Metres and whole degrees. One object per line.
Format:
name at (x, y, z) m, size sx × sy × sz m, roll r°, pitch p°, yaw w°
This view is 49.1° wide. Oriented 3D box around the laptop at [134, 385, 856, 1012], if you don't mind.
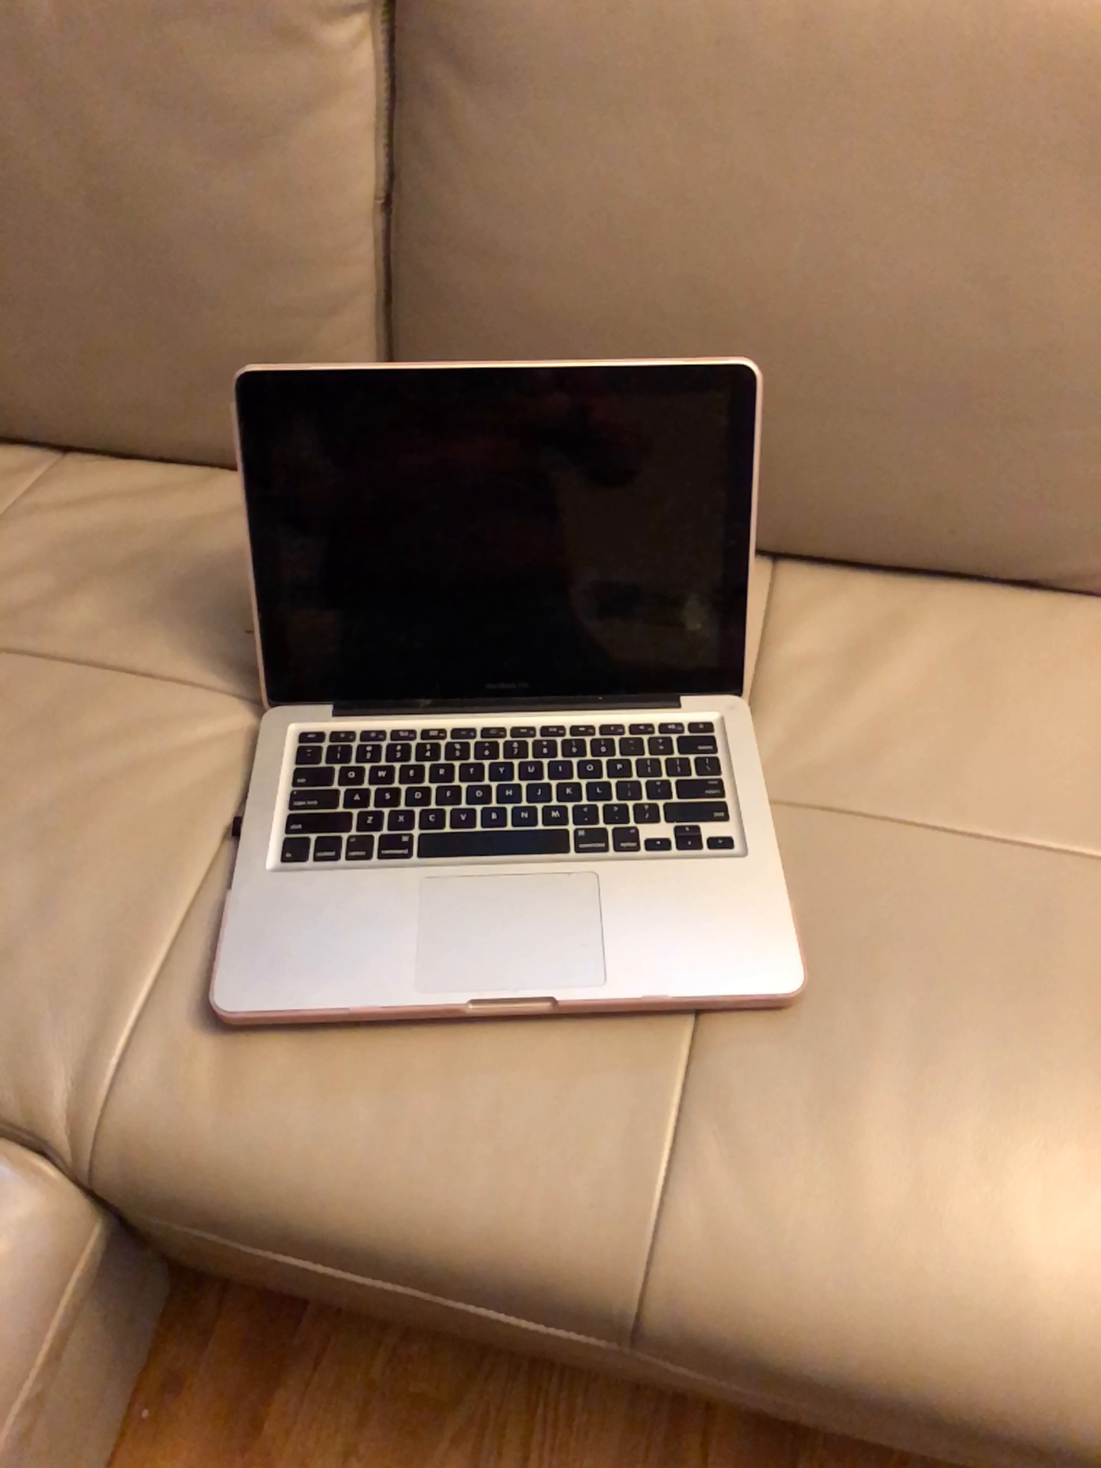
laptop at (-0.023, -0.031, 0.686) m, size 0.308 × 0.166 × 0.324 m, roll -2°, pitch 50°, yaw 0°
